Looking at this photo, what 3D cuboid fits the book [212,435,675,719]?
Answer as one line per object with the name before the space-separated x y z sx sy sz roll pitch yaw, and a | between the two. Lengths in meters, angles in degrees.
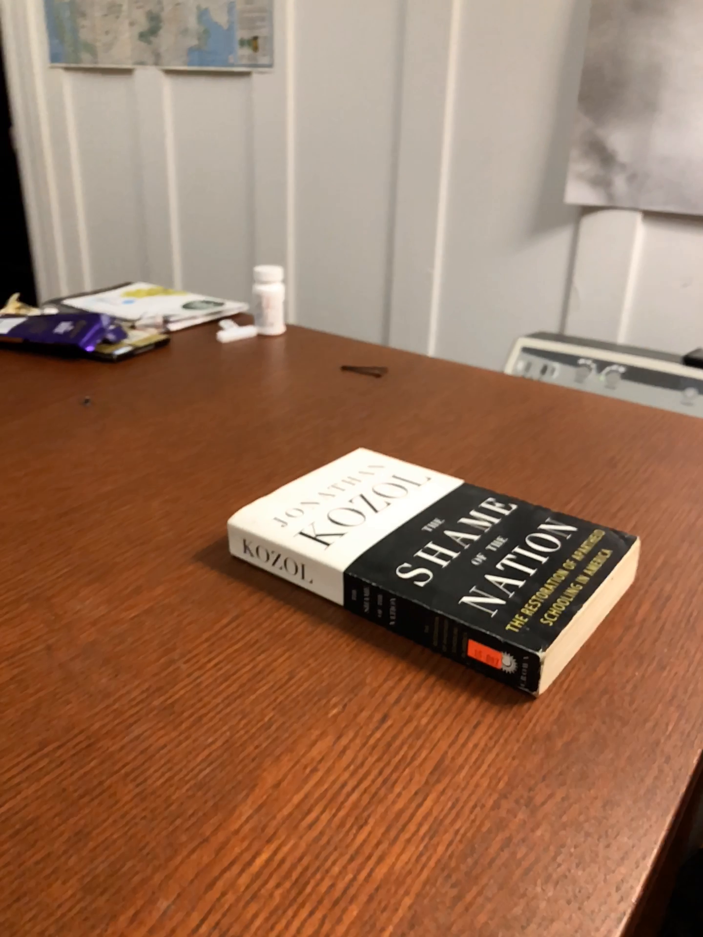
book | 0.054 0.046 0.480 0.230 0.030 0.161 19 30 32
